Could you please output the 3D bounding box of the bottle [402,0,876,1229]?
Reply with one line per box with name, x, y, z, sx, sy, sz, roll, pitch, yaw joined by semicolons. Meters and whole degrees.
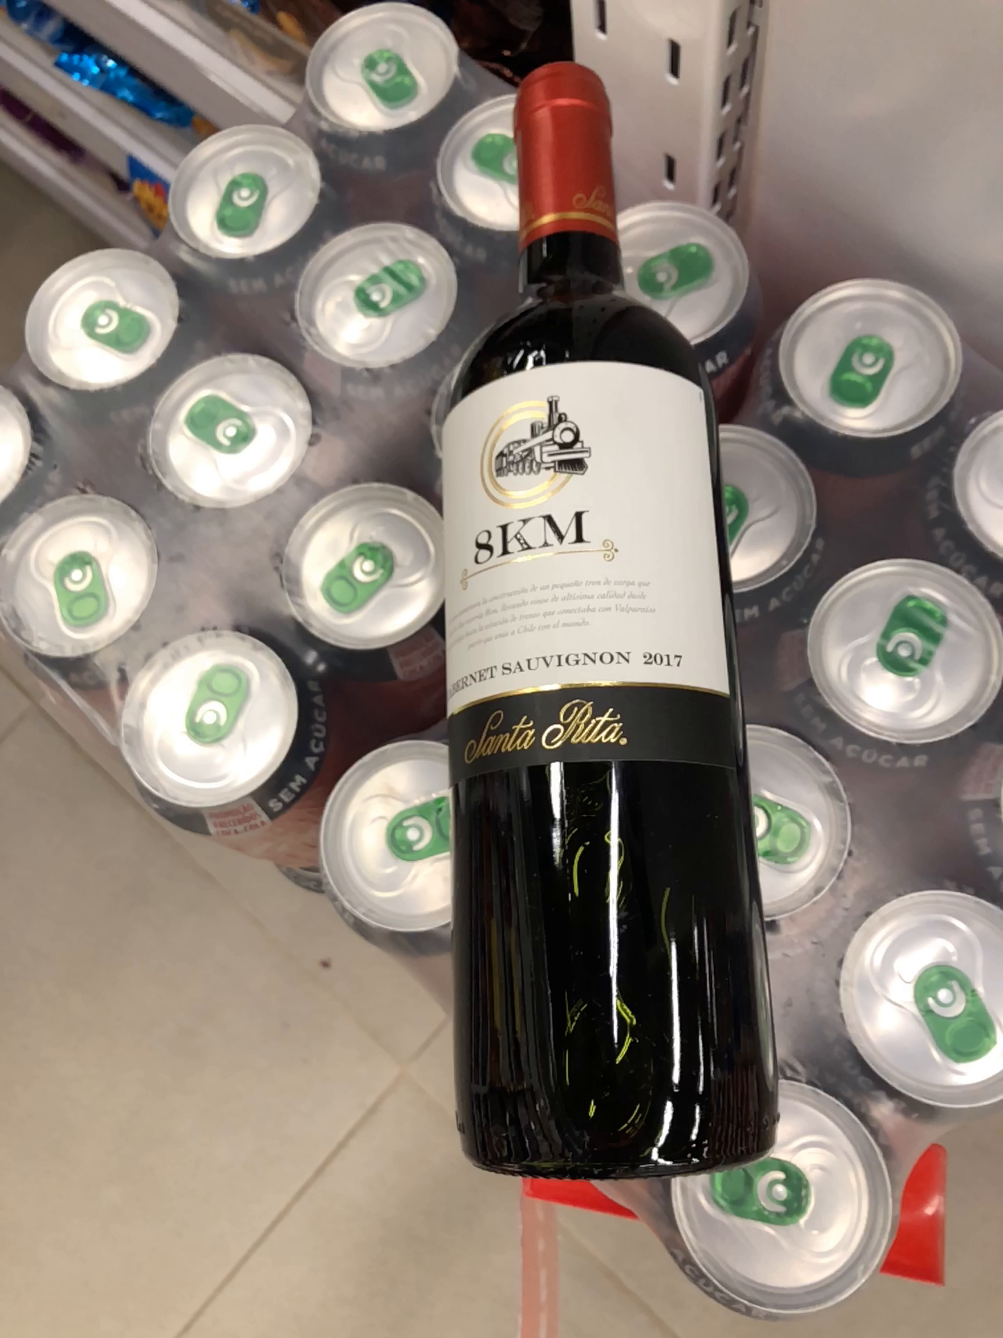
bottle;0.024;-0.043;0.282;0.080;0.070;0.320;-4;73;6
